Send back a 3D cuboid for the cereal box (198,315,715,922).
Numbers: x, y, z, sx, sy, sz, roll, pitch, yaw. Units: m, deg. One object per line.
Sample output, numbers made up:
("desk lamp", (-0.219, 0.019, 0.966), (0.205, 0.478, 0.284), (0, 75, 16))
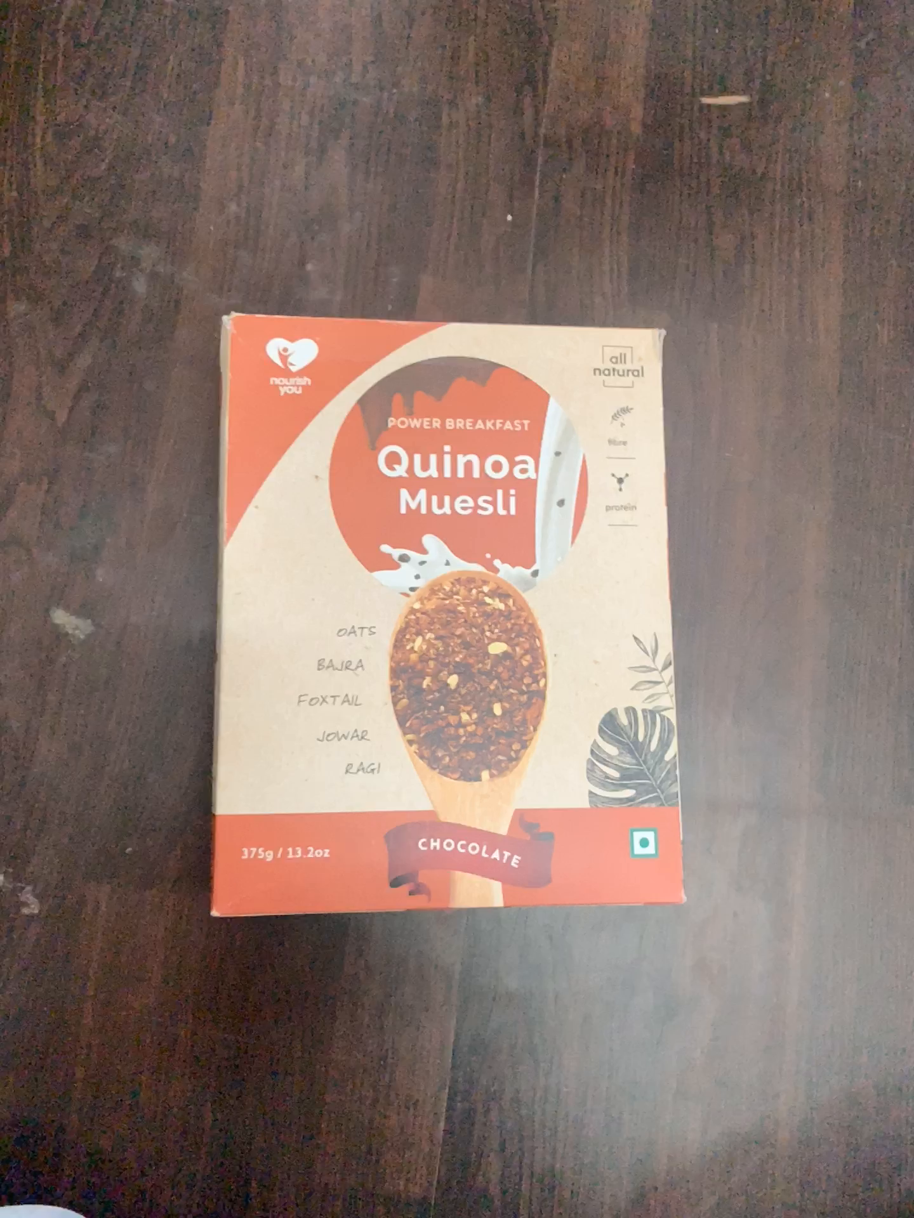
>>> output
("cereal box", (-0.002, 0.004, 0.363), (0.170, 0.070, 0.210), (1, 79, -5))
